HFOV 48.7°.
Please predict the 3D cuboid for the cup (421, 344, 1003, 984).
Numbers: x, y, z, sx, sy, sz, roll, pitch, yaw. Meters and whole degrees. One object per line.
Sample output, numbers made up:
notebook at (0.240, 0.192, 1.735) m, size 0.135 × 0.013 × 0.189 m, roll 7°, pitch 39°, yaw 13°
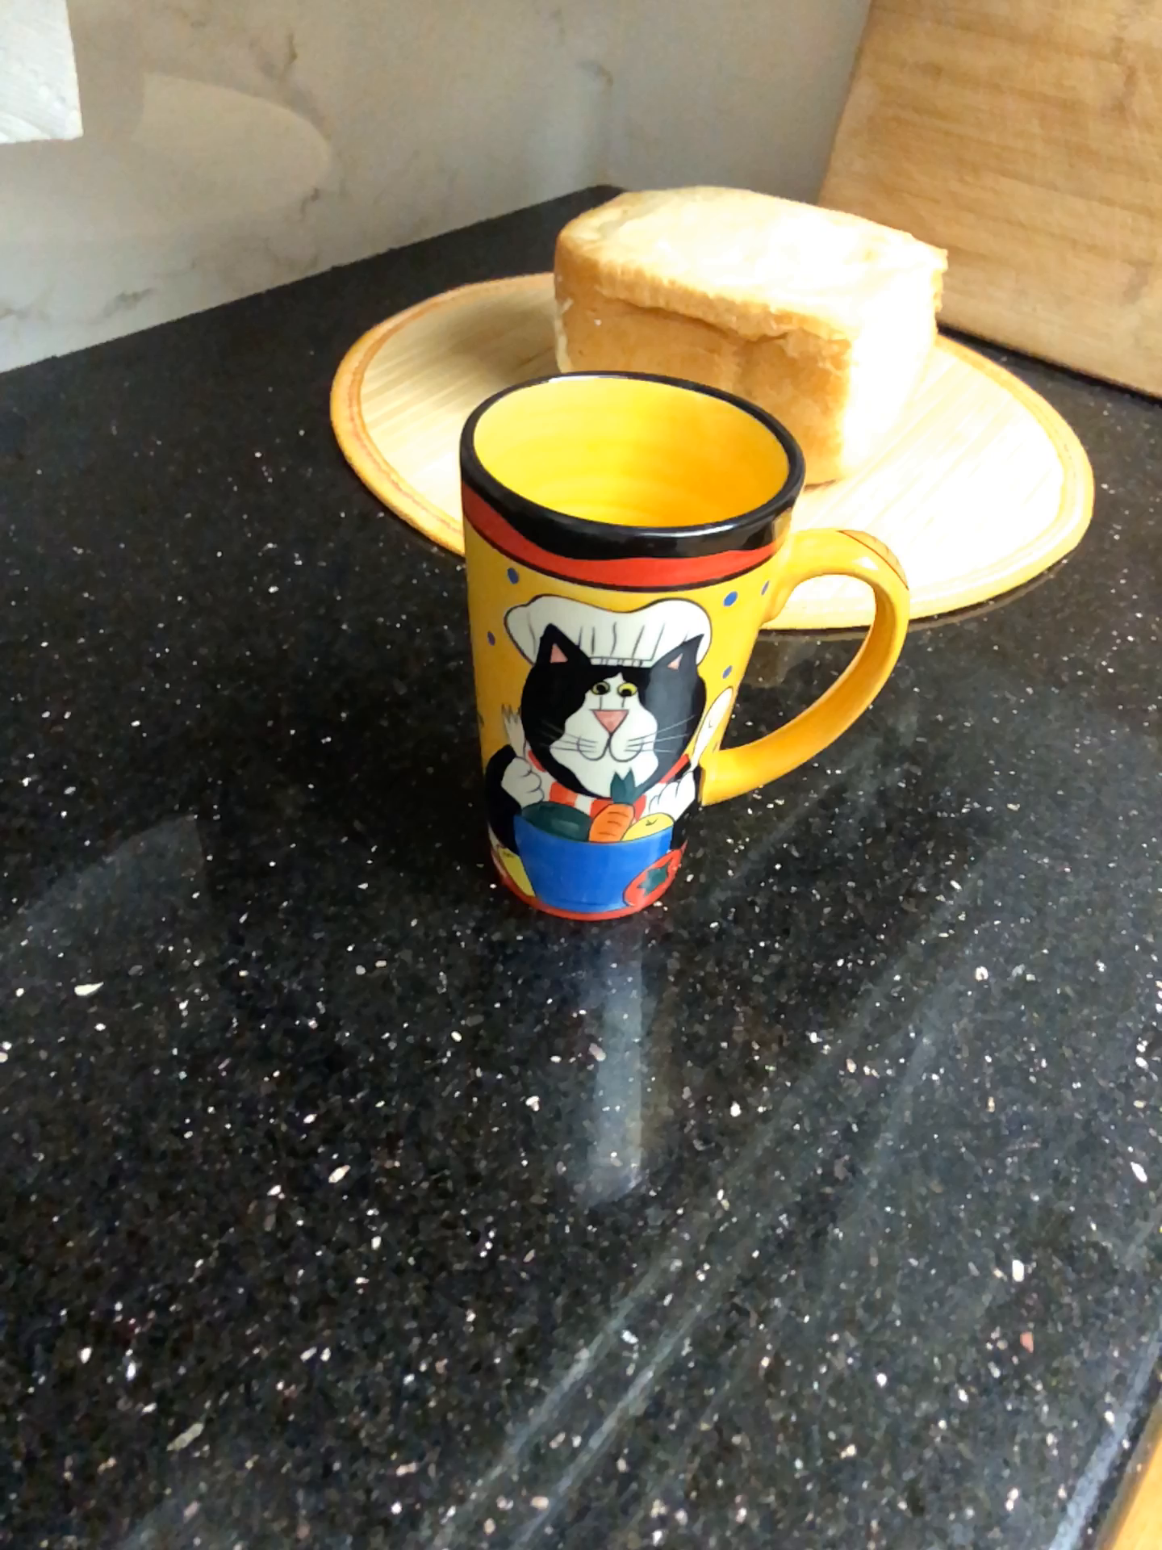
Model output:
cup at (0.028, -0.029, 0.364) m, size 0.130 × 0.139 × 0.091 m, roll 7°, pitch 41°, yaw 2°
